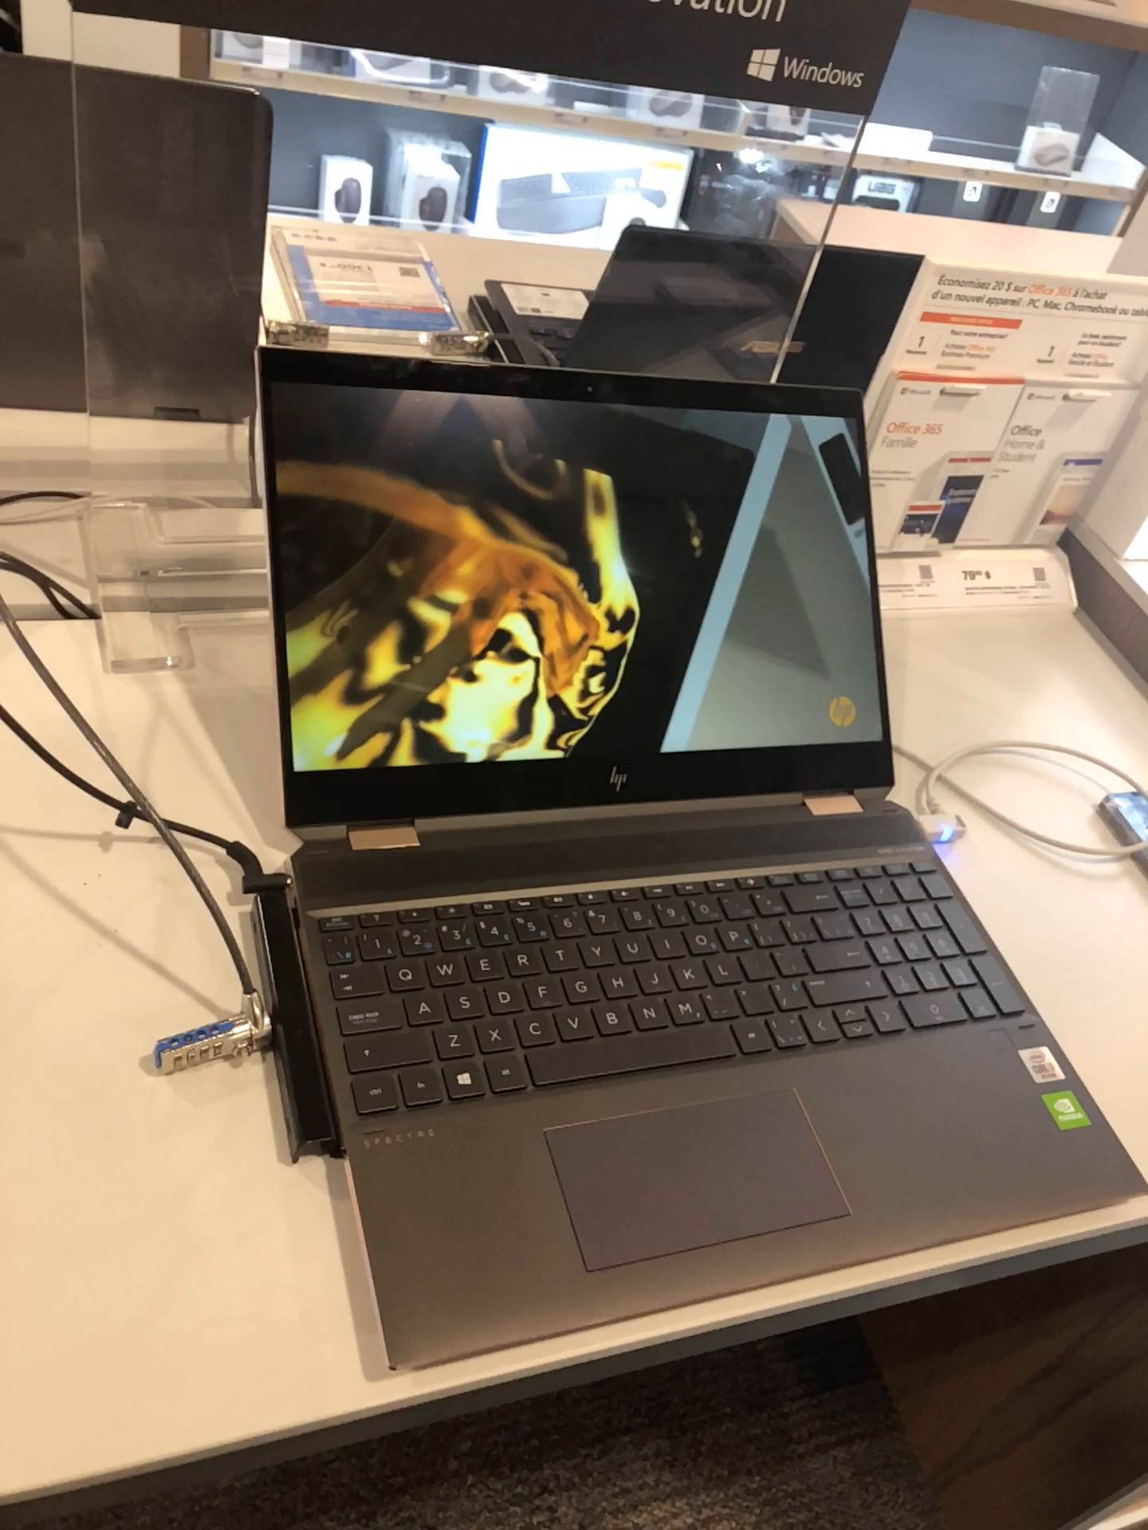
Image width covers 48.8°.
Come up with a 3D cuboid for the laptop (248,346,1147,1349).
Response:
[{"bbox_3d":[0.049,-0.009,0.583,0.334,0.145,0.426,-3,47,-20],"label":"laptop"}]
